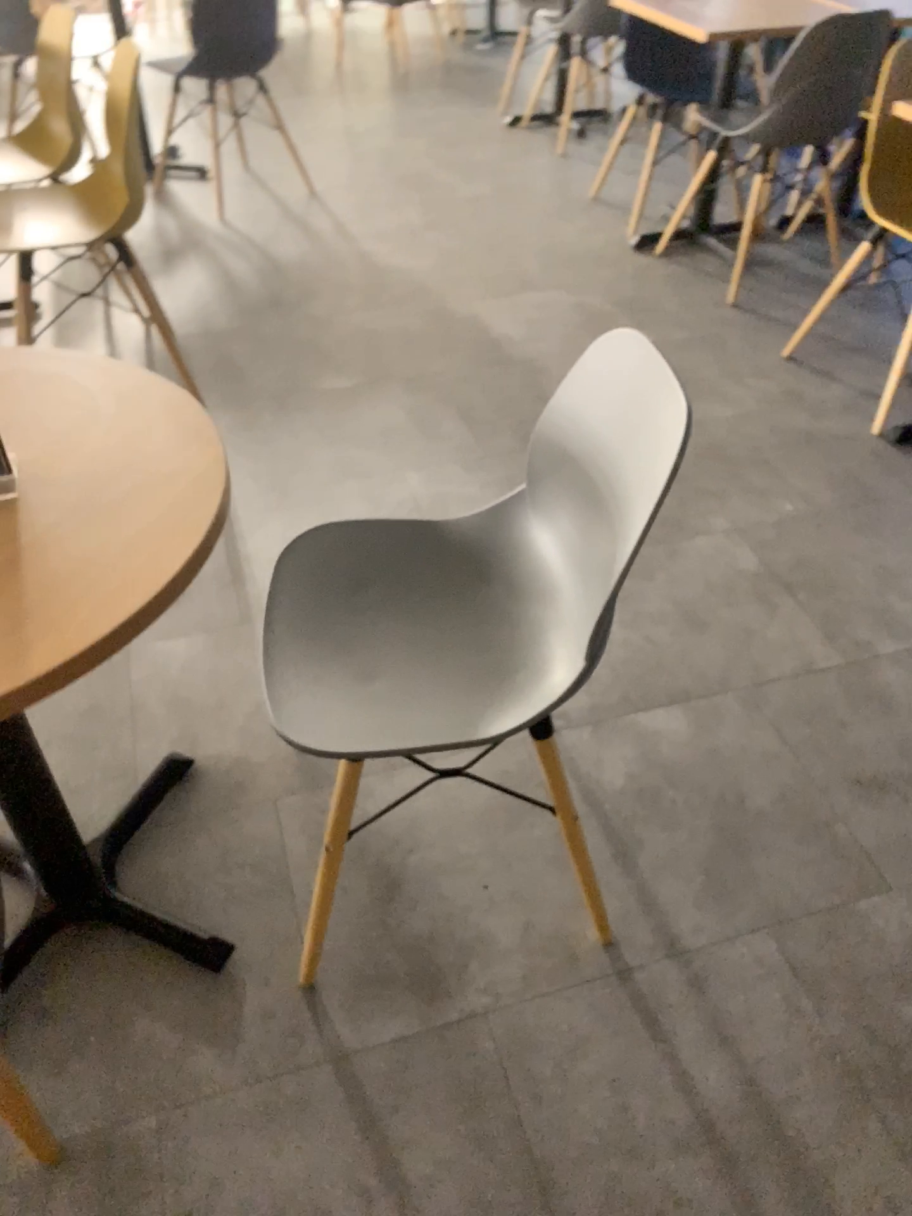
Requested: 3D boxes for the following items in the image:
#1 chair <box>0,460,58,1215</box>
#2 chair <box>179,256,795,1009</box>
[{"bbox_3d":[-0.841,0.375,0.952,0.511,0.753,0.559,-23,46,-24],"label":"chair"},{"bbox_3d":[-0.007,0.050,1.233,0.520,0.802,0.510,-6,42,-7],"label":"chair"}]
